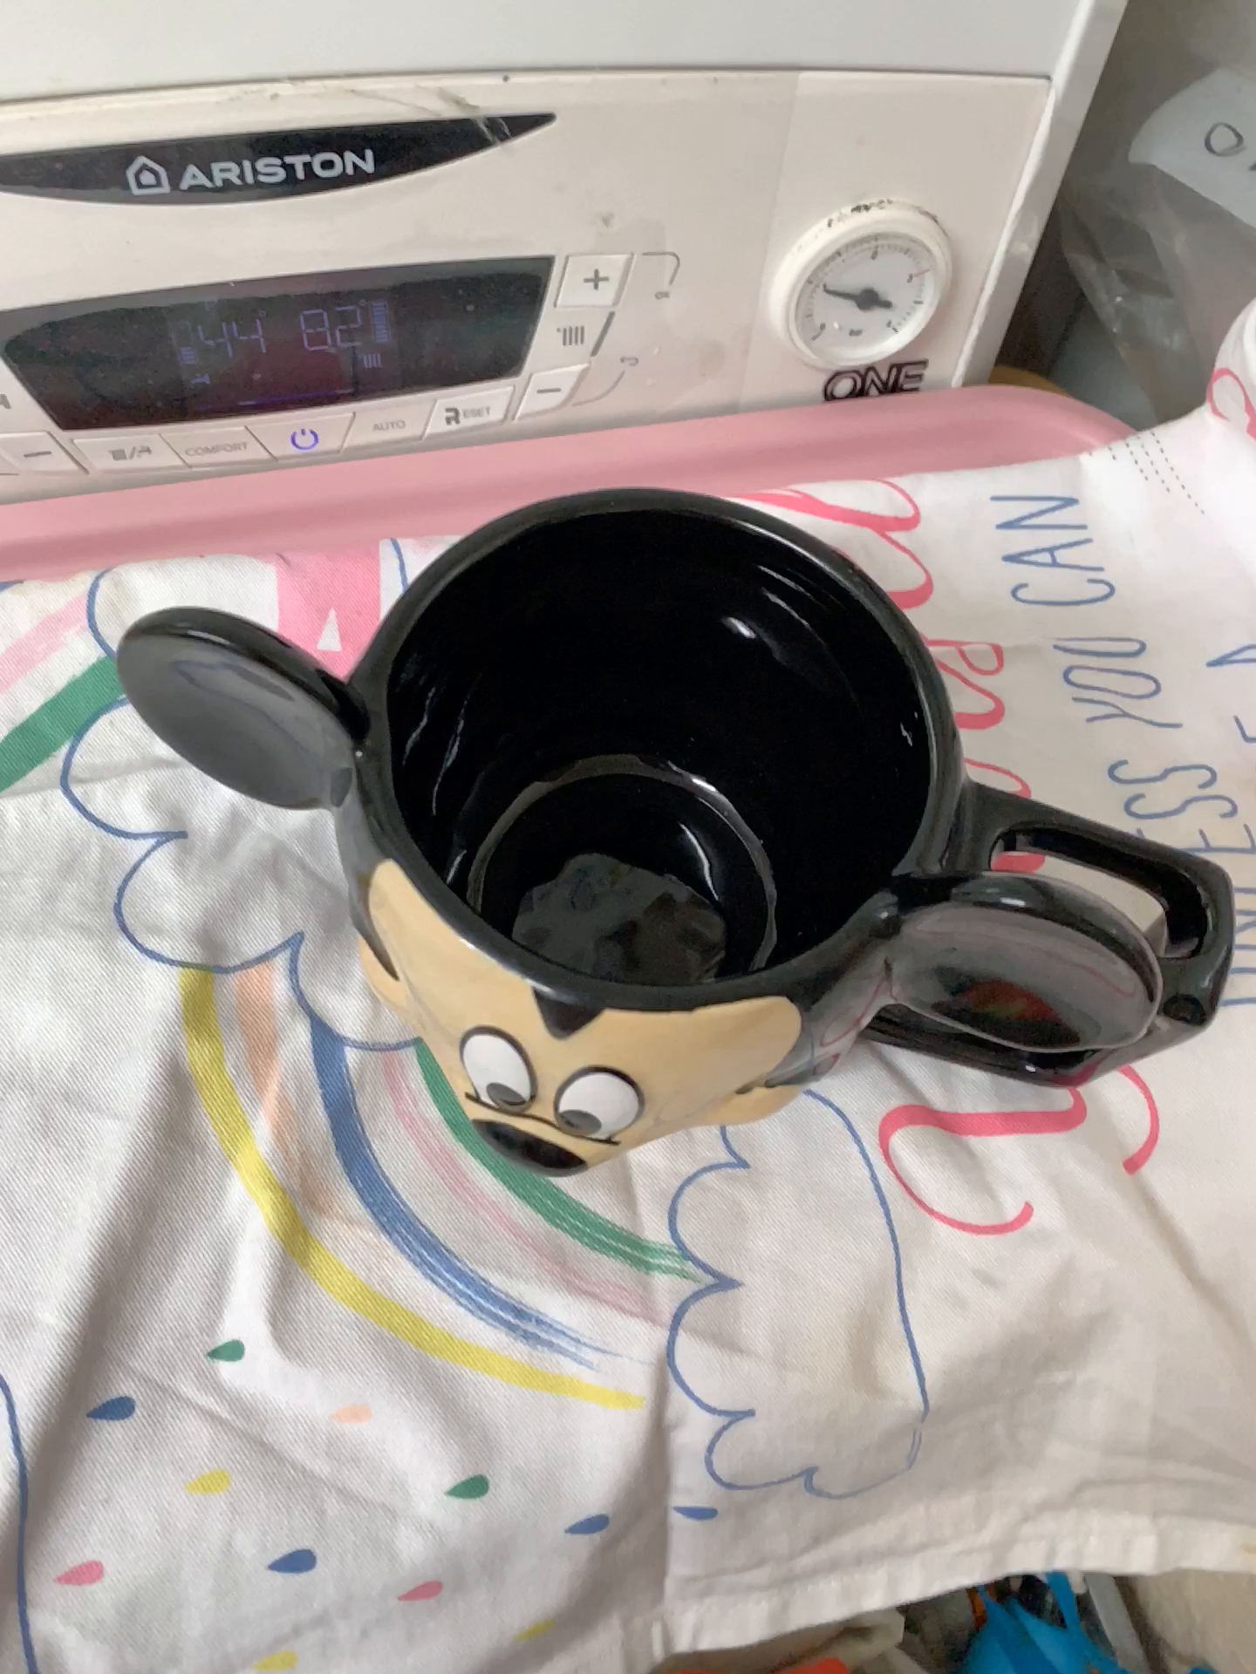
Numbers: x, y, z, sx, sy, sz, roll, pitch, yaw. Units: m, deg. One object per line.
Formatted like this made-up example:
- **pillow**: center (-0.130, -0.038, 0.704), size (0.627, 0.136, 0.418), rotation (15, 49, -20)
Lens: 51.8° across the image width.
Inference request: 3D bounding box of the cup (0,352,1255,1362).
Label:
- **cup**: center (0.005, 0.004, 0.224), size (0.190, 0.079, 0.101), rotation (16, 60, 4)
